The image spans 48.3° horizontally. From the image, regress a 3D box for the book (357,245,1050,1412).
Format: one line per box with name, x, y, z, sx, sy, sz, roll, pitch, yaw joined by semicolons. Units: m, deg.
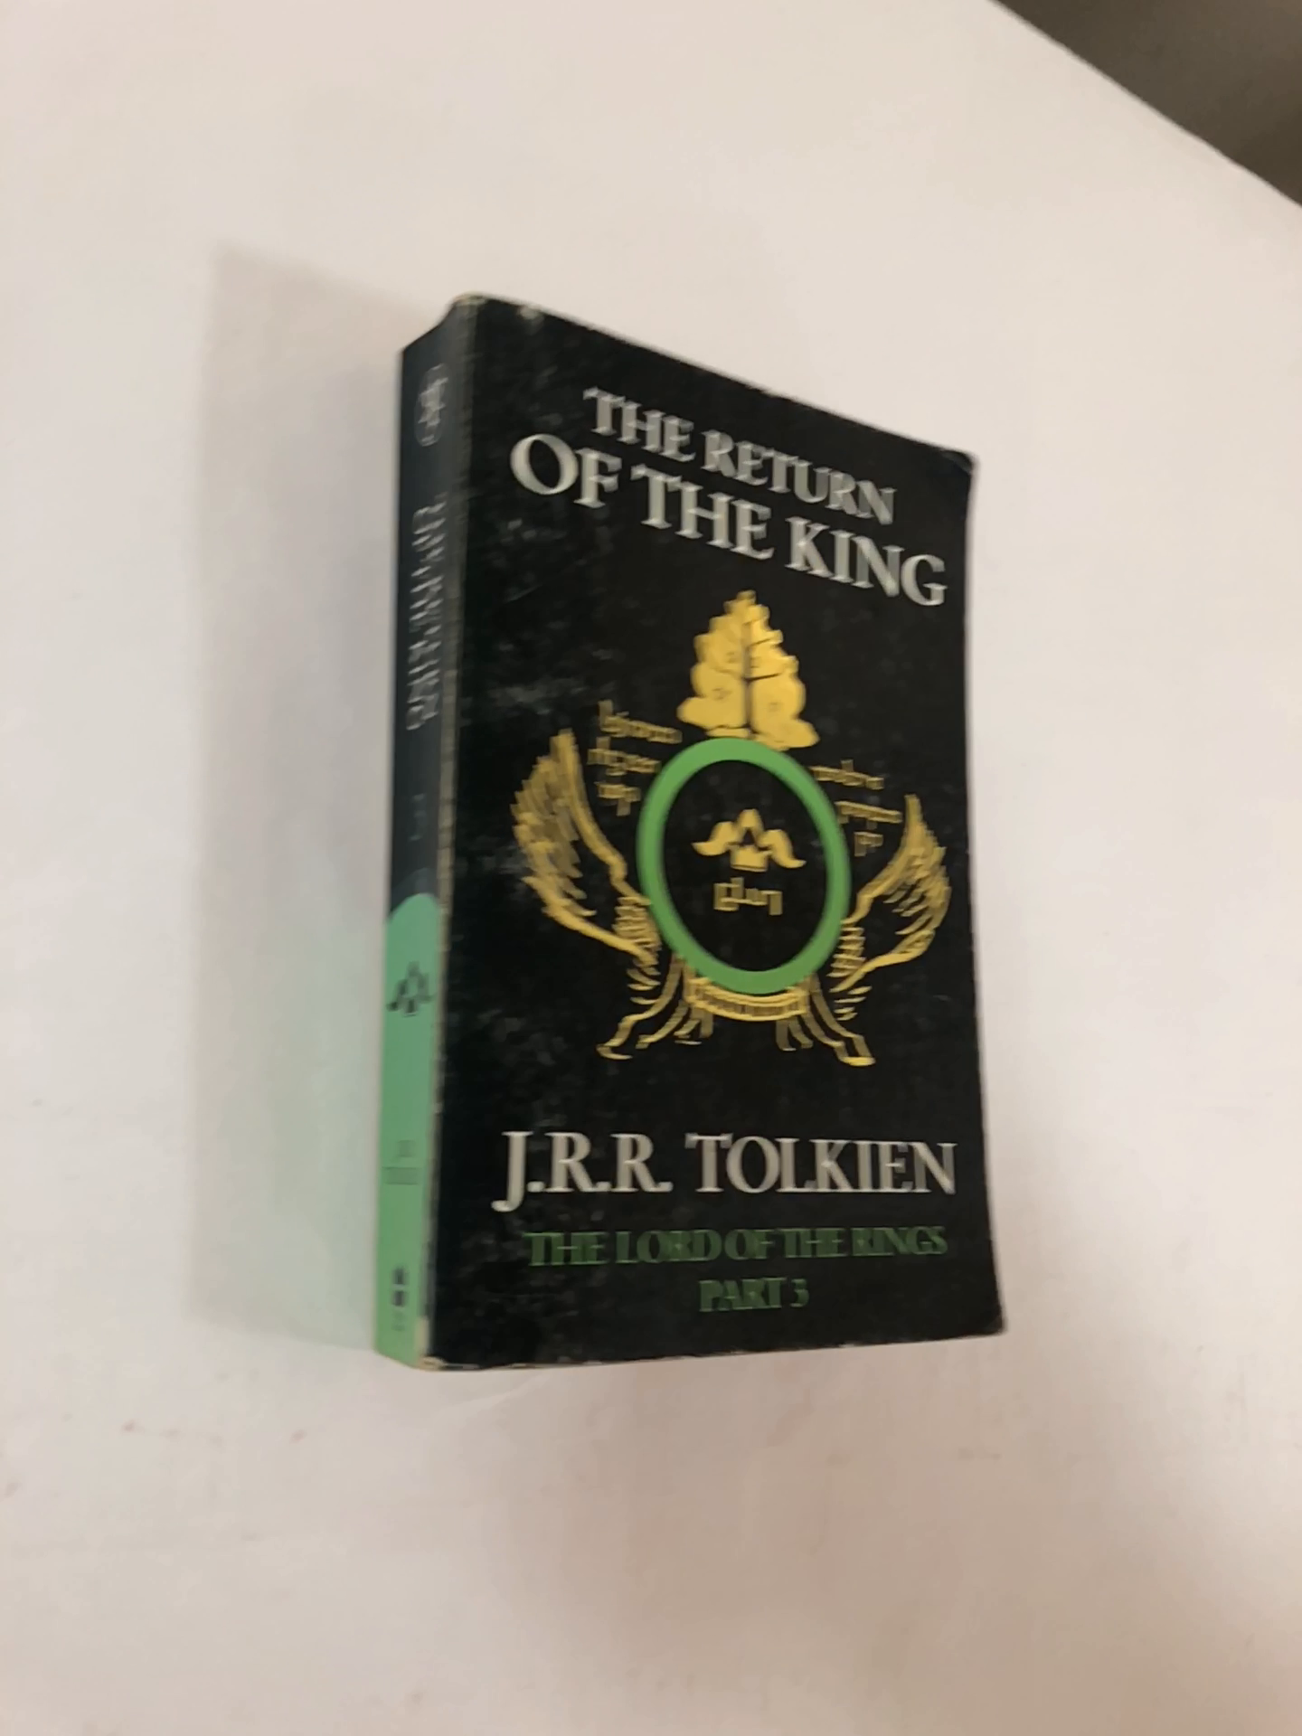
book;0.014;-0.004;0.293;0.130;0.040;0.200;8;75;-32
